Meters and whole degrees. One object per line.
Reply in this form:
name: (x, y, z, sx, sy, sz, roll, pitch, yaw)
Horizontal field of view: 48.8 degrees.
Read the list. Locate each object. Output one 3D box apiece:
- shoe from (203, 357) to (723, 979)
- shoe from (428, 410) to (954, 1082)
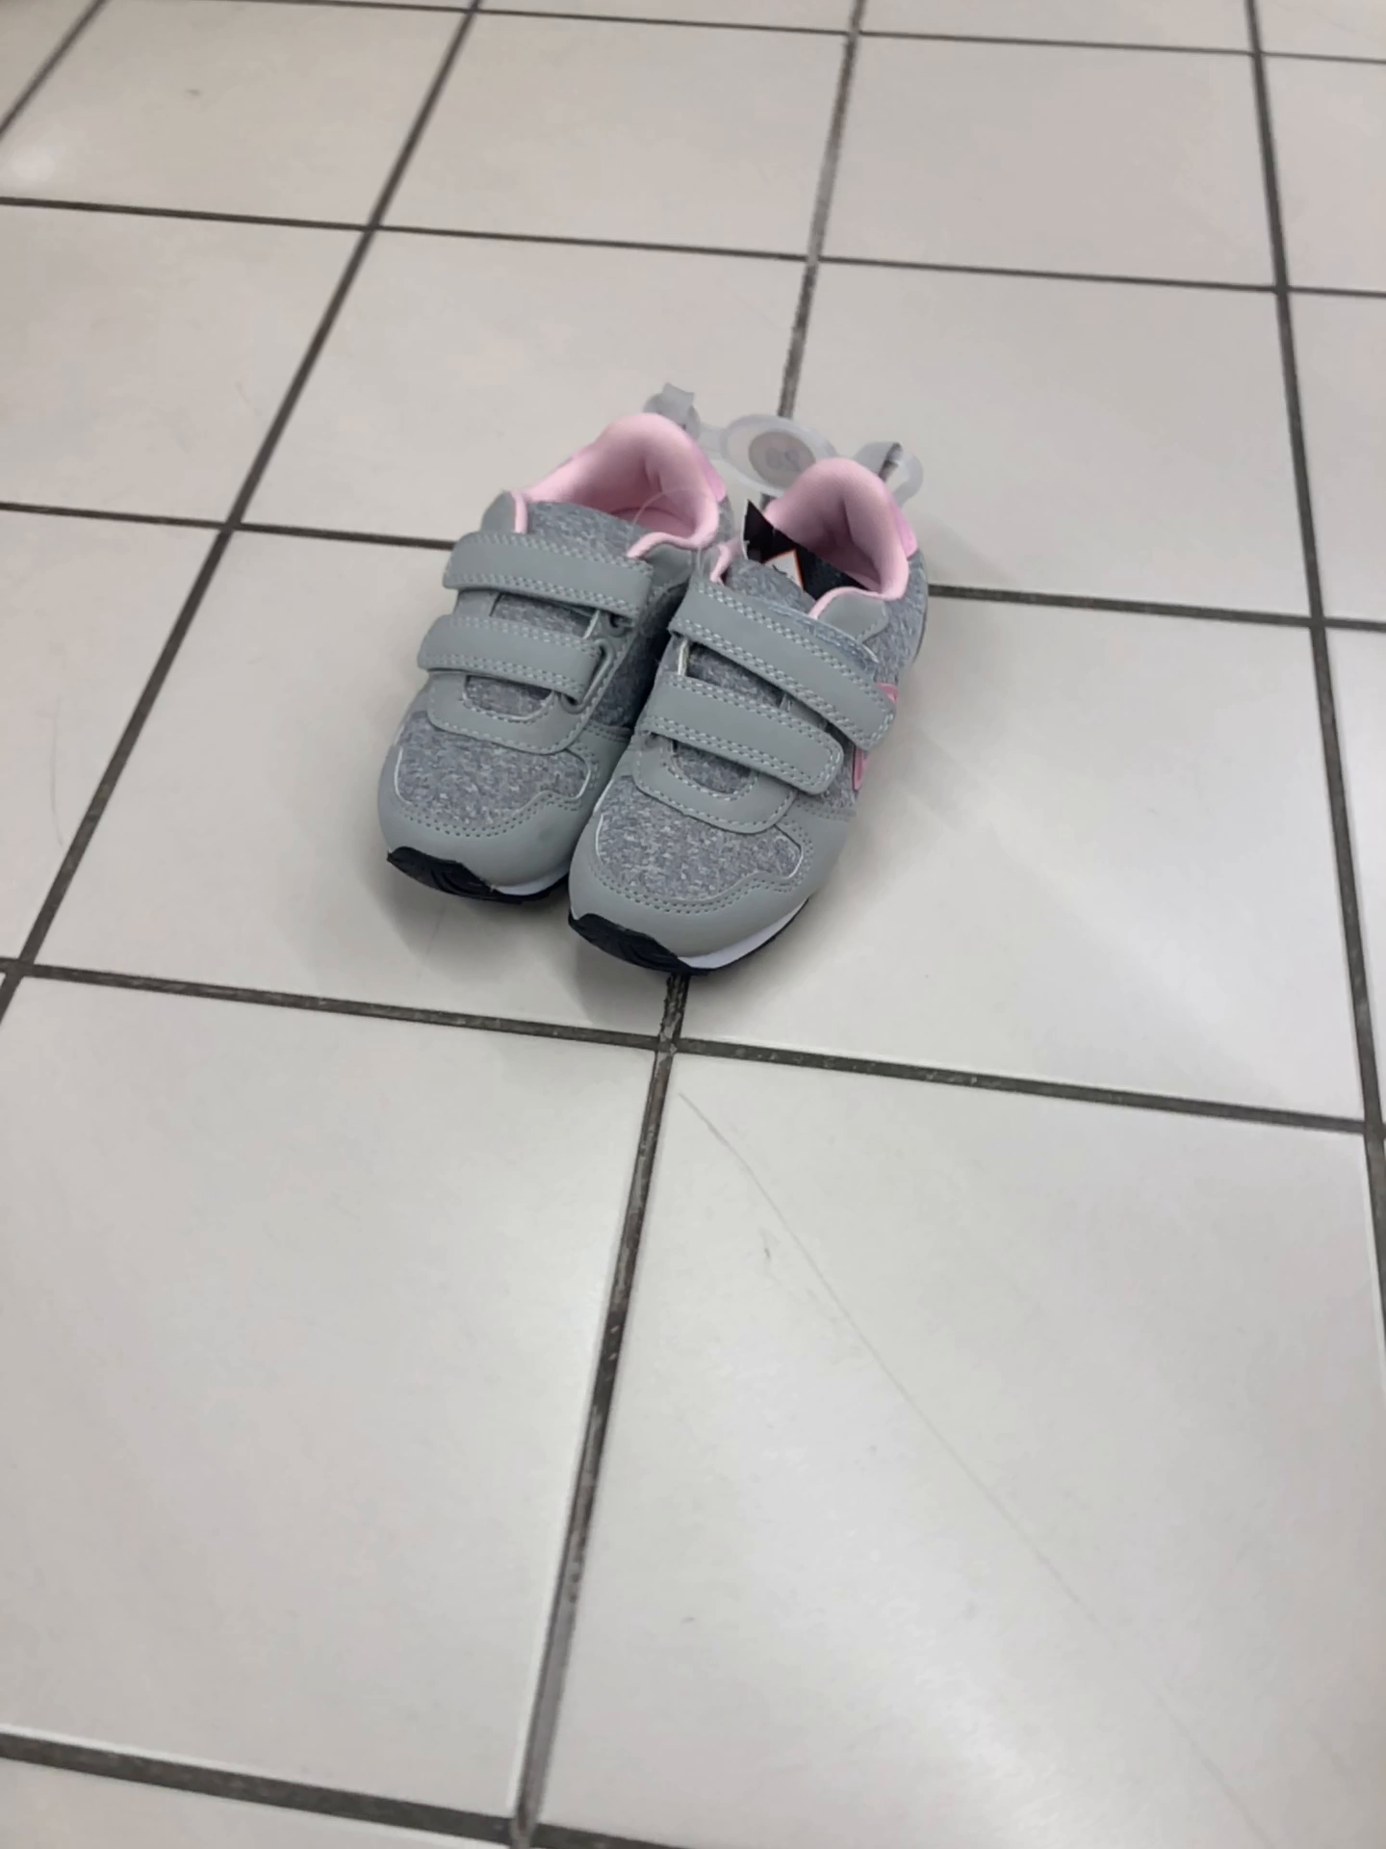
shoe: (-0.059, -0.085, 0.472, 0.080, 0.070, 0.181, 17, 57, 12)
shoe: (0.007, -0.059, 0.459, 0.080, 0.080, 0.181, 20, 58, 14)
